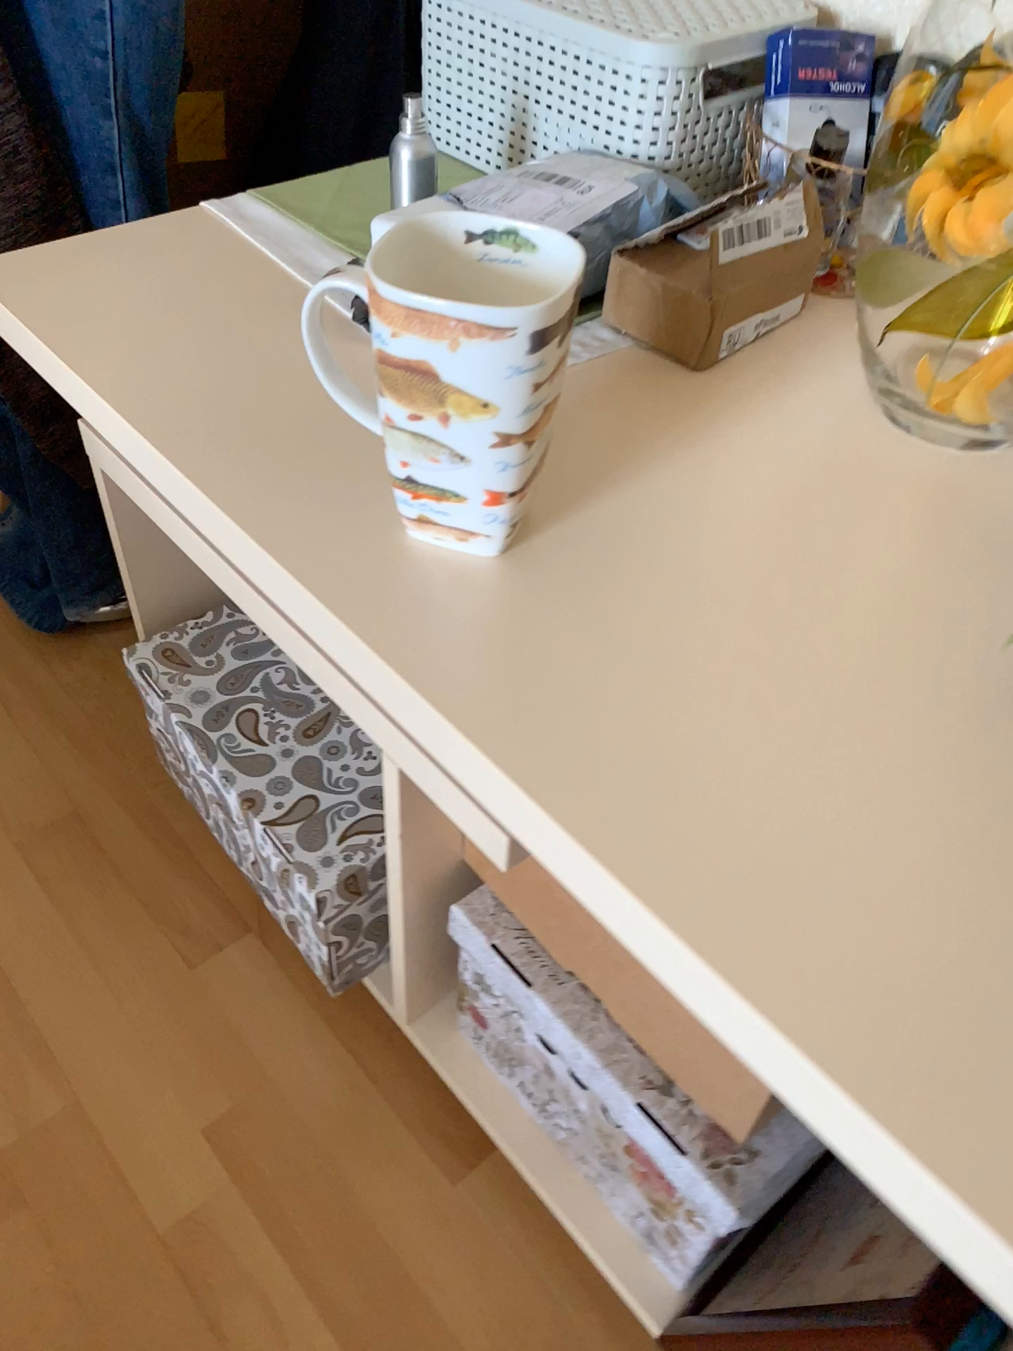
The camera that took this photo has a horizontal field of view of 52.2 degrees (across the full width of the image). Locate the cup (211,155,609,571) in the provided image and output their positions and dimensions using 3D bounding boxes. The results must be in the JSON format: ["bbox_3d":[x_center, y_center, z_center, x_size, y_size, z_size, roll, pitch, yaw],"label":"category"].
[{"bbox_3d":[-0.041,-0.148,0.487,0.140,0.129,0.101,17,47,12],"label":"cup"}]
